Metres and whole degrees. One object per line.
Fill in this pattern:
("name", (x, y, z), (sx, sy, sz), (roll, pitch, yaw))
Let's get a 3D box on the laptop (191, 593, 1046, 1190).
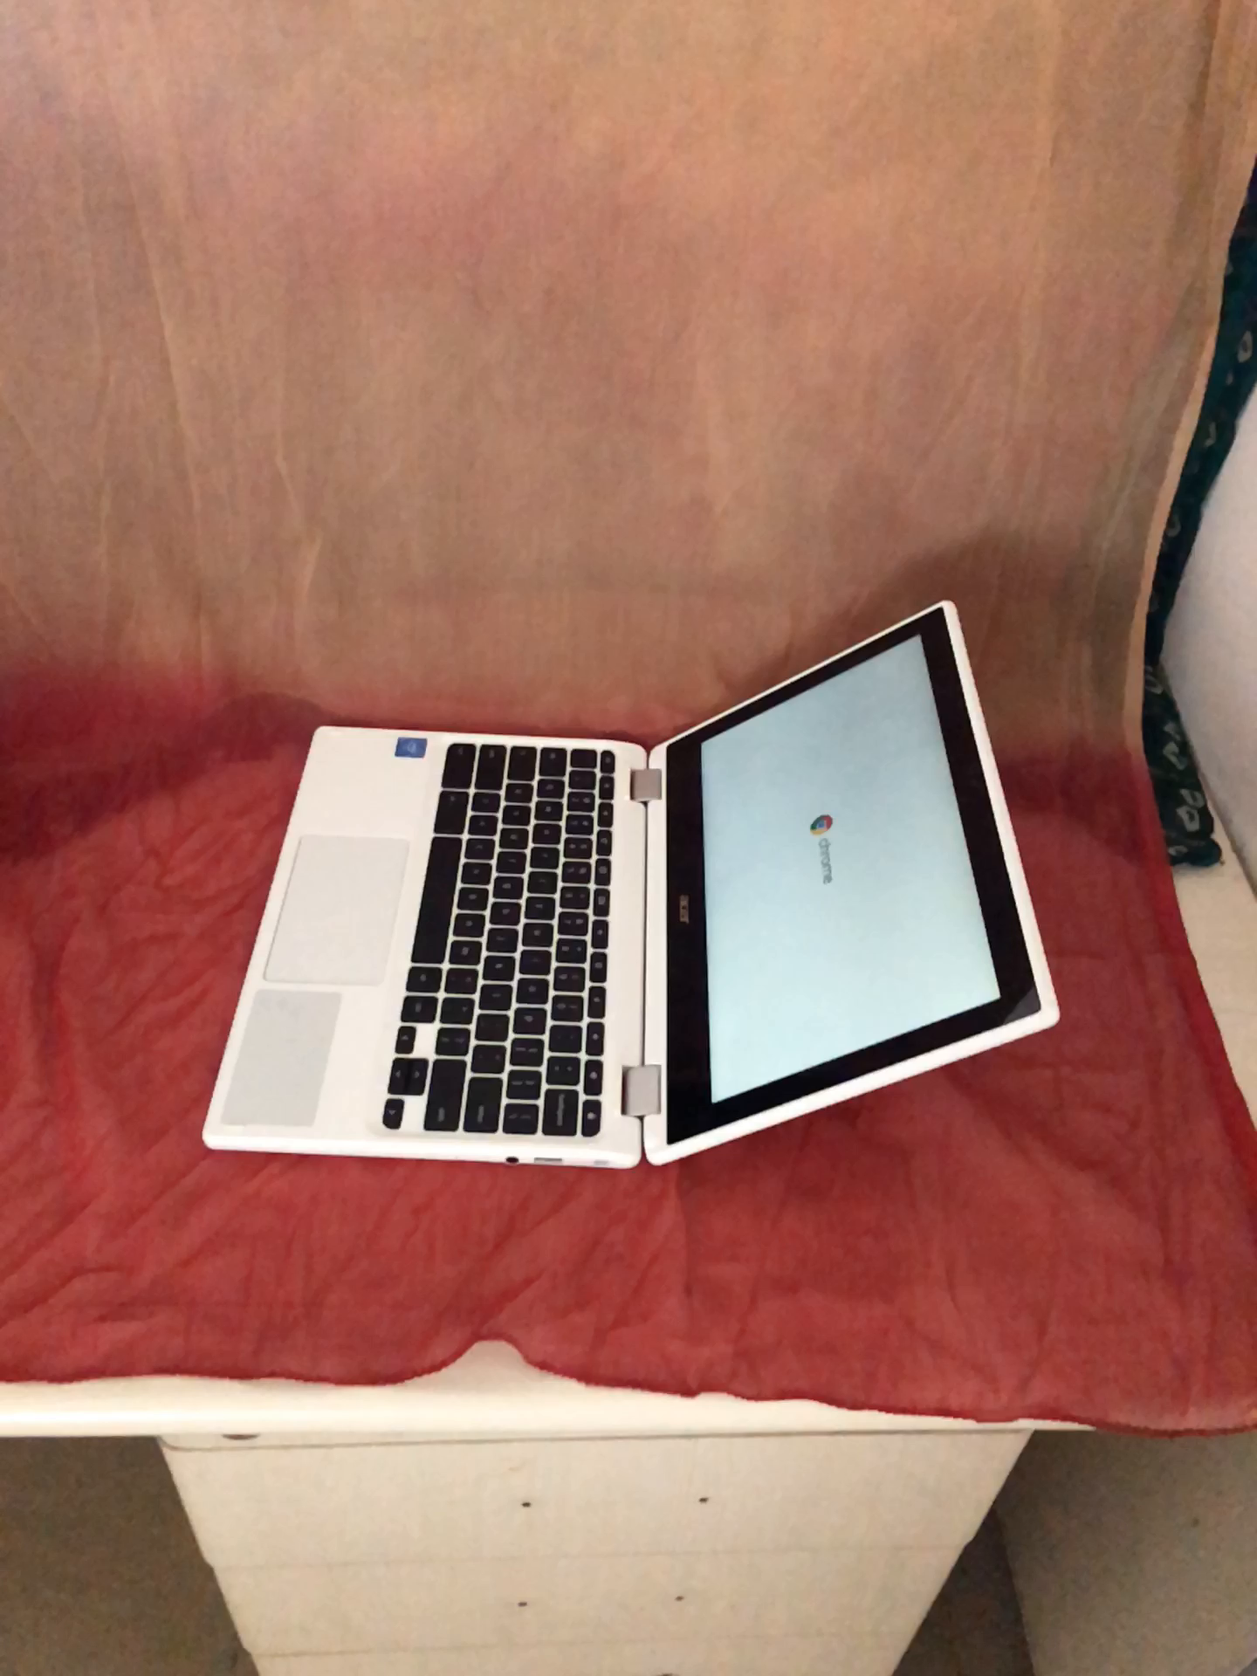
("laptop", (-0.004, 0.014, 0.677), (0.337, 0.112, 0.265), (3, 44, -1))
